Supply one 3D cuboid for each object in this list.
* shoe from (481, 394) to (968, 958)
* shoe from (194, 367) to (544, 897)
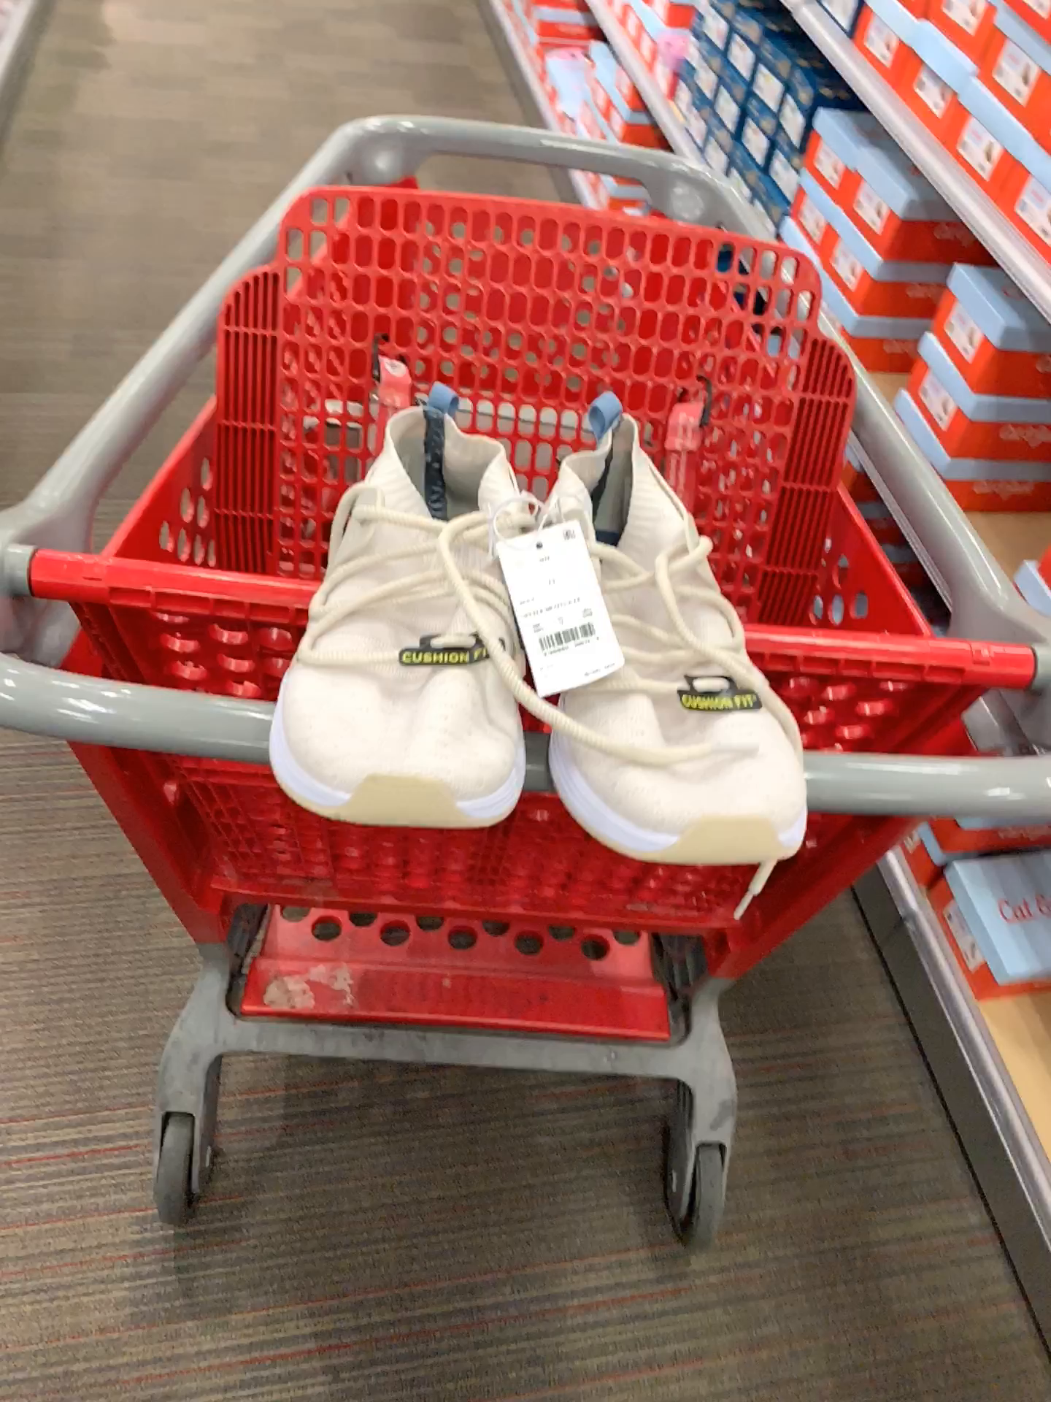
[{"bbox_3d":[0.060,-0.035,0.487,0.110,0.110,0.281,-3,36,-12],"label":"shoe"},{"bbox_3d":[-0.059,-0.053,0.489,0.110,0.110,0.281,5,31,-5],"label":"shoe"}]
